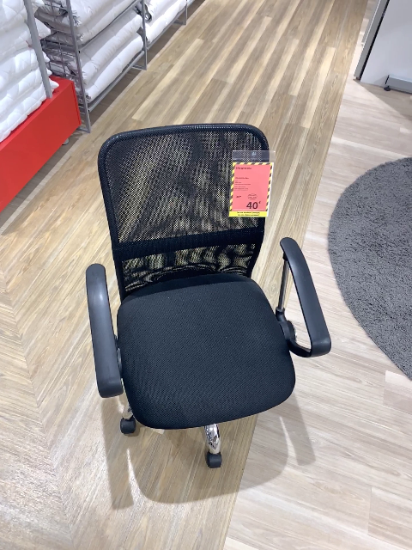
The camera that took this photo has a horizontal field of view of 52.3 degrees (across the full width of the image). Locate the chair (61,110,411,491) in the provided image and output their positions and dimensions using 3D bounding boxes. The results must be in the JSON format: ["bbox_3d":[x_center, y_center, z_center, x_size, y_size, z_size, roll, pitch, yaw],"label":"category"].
[{"bbox_3d":[0.015,0.120,1.169,0.640,0.867,0.603,-7,54,-11],"label":"chair"}]
